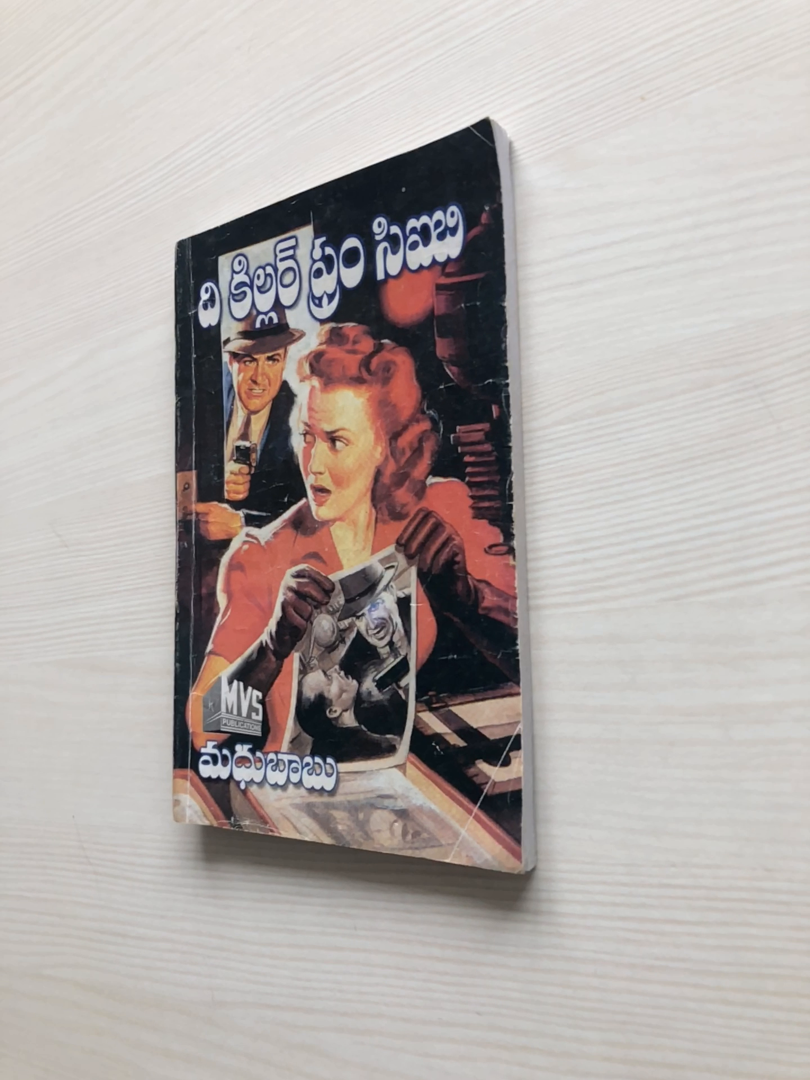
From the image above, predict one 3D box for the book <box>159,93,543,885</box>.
[{"bbox_3d":[-0.019,-0.010,0.213,0.100,0.012,0.160,-5,82,34],"label":"book"}]
